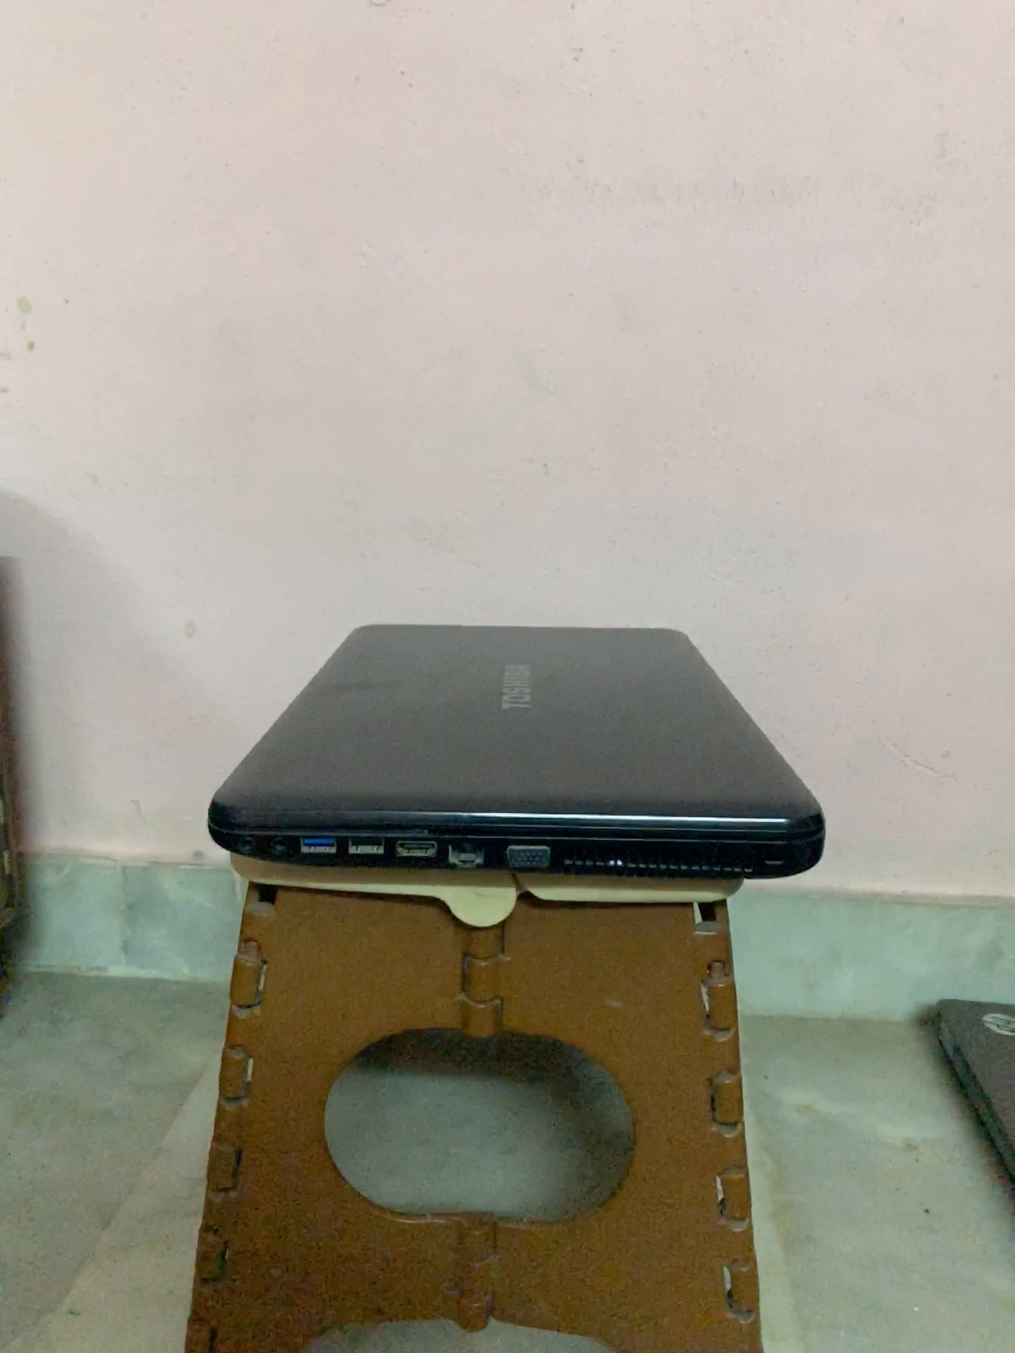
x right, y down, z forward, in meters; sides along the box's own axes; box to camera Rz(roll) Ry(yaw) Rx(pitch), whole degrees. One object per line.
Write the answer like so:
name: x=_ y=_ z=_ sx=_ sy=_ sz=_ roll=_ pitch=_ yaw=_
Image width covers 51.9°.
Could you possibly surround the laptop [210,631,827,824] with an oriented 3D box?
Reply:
laptop: x=0.006 y=0.011 z=0.578 sx=0.236 sy=0.001 sz=0.370 roll=1 pitch=13 yaw=1
